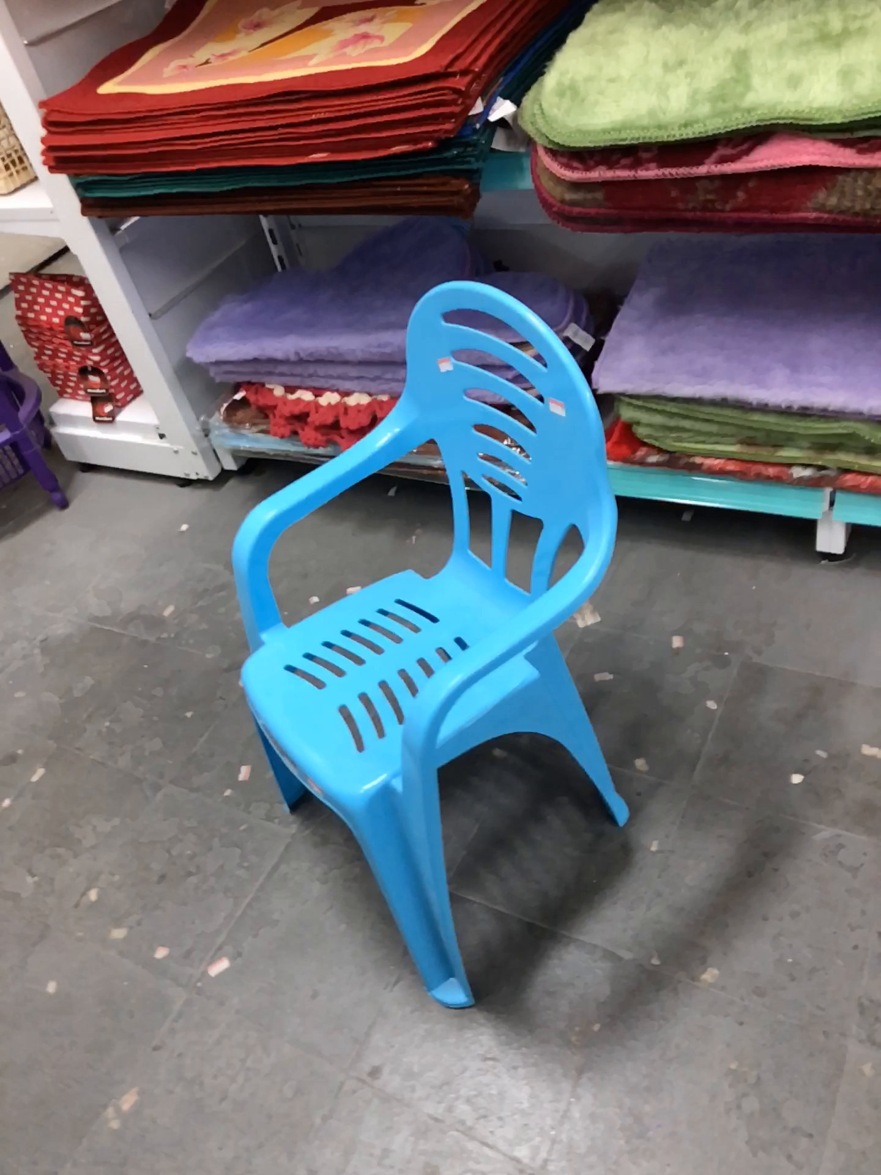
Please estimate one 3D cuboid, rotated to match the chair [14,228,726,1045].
[{"bbox_3d":[-0.033,0.033,0.904,0.391,0.516,0.402,-34,43,-18],"label":"chair"}]
